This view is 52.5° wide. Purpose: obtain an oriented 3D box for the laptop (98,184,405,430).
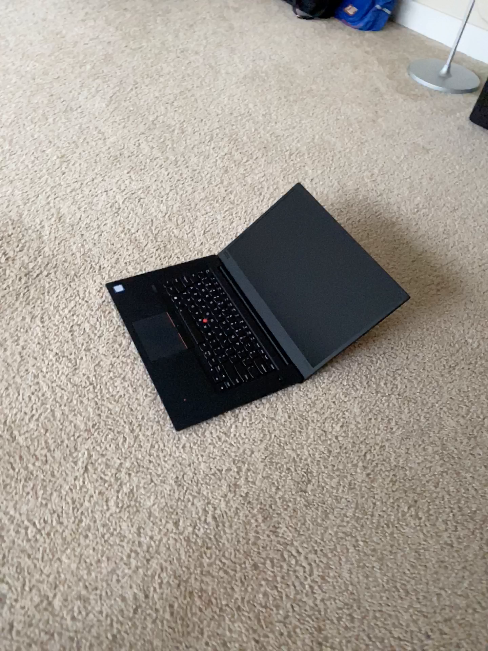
[{"bbox_3d":[0.002,-0.066,0.933,0.433,0.142,0.361,-18,55,-22],"label":"laptop"}]
